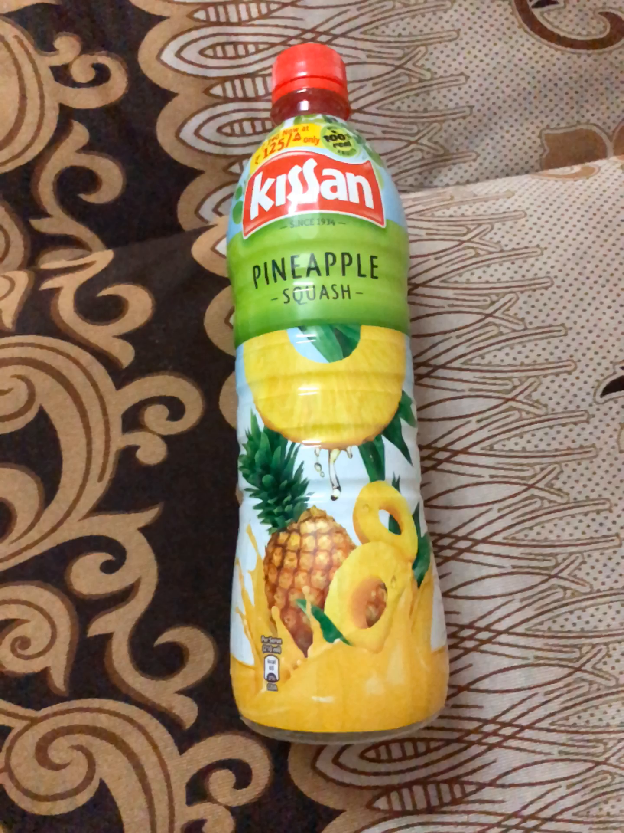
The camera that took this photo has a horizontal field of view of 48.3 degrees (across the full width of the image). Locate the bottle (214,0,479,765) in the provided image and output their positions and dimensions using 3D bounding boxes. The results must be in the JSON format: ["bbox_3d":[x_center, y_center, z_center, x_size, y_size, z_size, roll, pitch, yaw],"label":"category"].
[{"bbox_3d":[0.006,-0.021,0.238,0.070,0.060,0.240,-2,82,-2],"label":"bottle"}]
